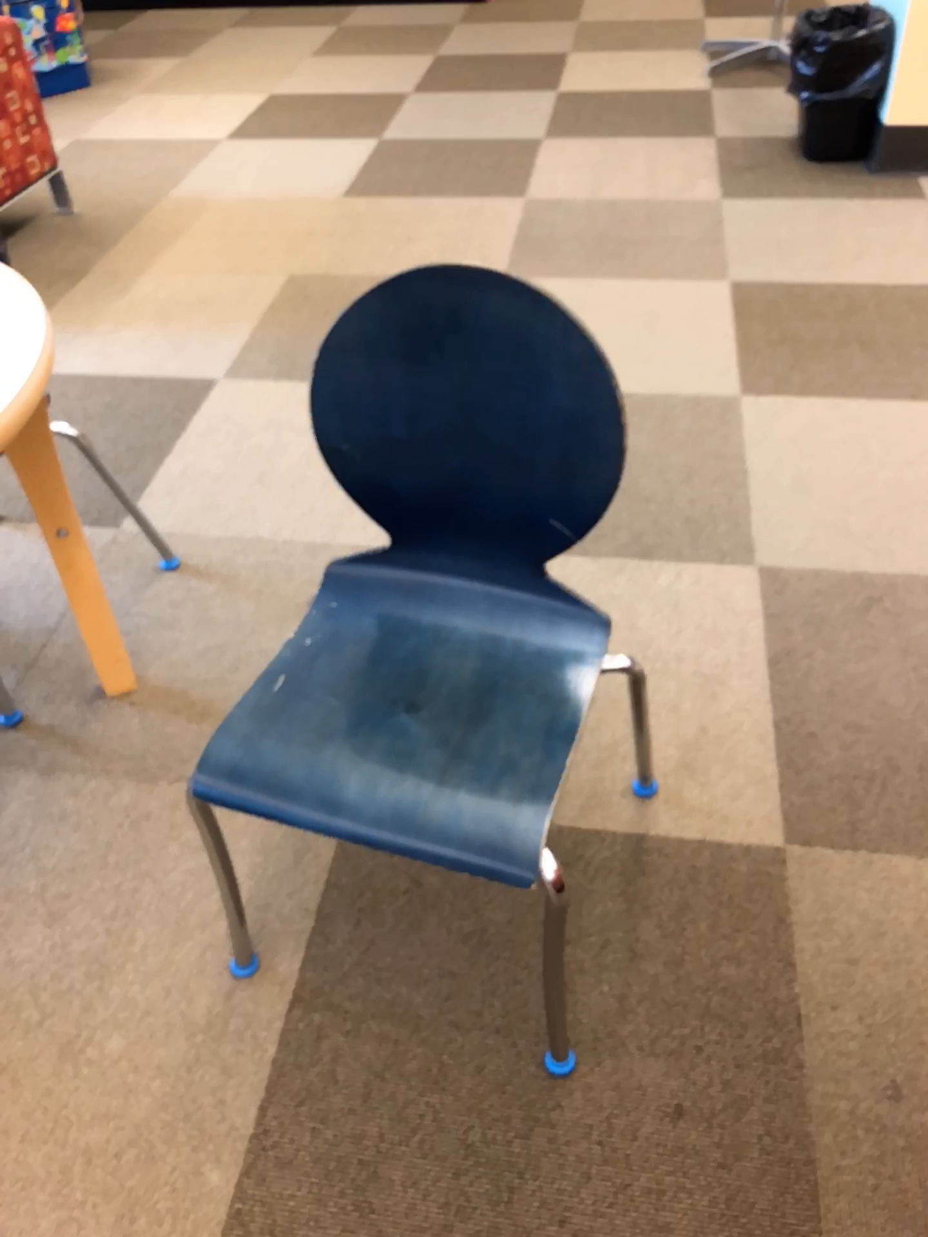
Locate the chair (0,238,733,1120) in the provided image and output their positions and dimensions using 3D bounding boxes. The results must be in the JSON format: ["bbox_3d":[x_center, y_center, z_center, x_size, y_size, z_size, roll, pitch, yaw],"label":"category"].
[{"bbox_3d":[-0.050,0.060,1.073,0.497,0.698,0.475,11,43,16],"label":"chair"}]
